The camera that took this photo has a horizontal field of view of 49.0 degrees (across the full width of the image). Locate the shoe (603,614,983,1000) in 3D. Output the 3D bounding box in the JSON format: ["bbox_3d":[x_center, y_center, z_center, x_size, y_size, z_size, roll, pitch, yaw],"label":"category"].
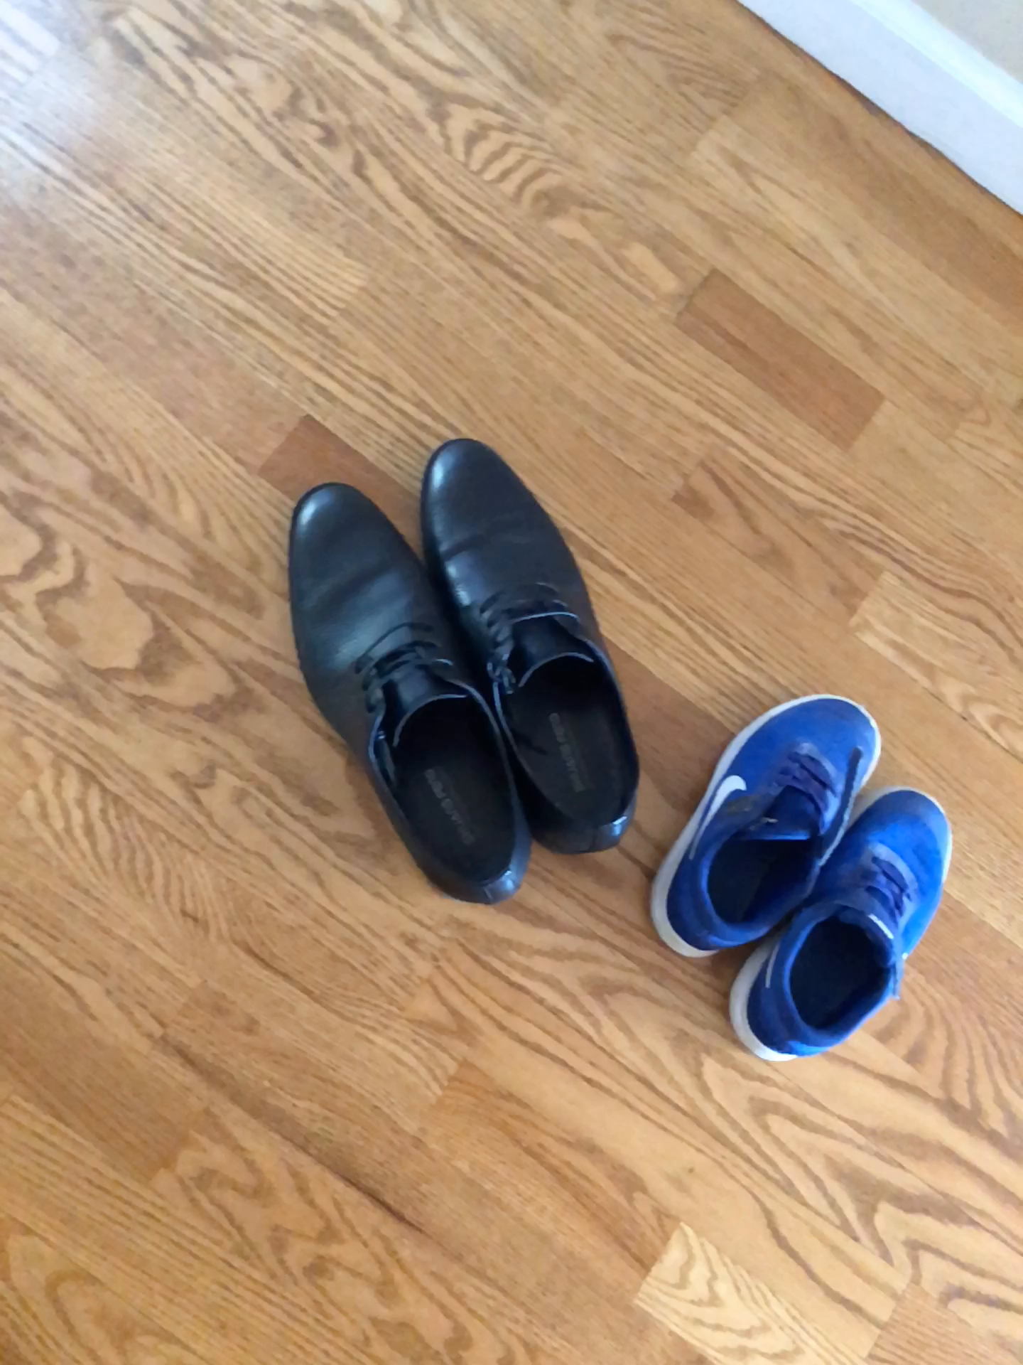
[{"bbox_3d":[0.185,0.085,0.762,0.100,0.130,0.230,41,77,2],"label":"shoe"}]

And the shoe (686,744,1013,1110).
[{"bbox_3d":[0.232,0.164,0.775,0.100,0.070,0.220,38,77,1],"label":"shoe"}]

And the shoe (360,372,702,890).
[{"bbox_3d":[0.005,-0.033,0.767,0.120,0.090,0.320,-18,82,-10],"label":"shoe"}]

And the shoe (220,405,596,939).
[{"bbox_3d":[-0.072,-0.006,0.747,0.120,0.090,0.320,-23,82,-11],"label":"shoe"}]
